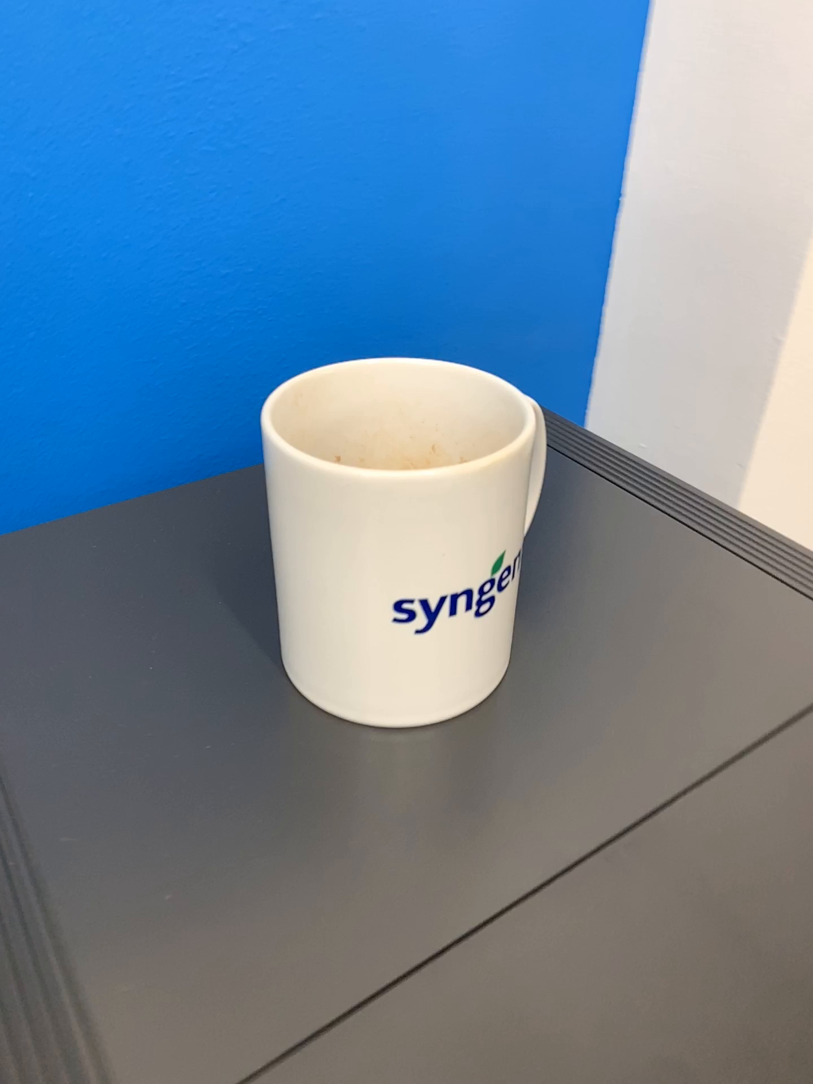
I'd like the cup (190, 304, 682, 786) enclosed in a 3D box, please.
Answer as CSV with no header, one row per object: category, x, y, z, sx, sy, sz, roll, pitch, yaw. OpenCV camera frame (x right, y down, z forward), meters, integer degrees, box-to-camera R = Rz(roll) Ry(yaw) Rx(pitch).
cup,0.012,-0.010,0.287,0.088,0.094,0.132,29,43,34
